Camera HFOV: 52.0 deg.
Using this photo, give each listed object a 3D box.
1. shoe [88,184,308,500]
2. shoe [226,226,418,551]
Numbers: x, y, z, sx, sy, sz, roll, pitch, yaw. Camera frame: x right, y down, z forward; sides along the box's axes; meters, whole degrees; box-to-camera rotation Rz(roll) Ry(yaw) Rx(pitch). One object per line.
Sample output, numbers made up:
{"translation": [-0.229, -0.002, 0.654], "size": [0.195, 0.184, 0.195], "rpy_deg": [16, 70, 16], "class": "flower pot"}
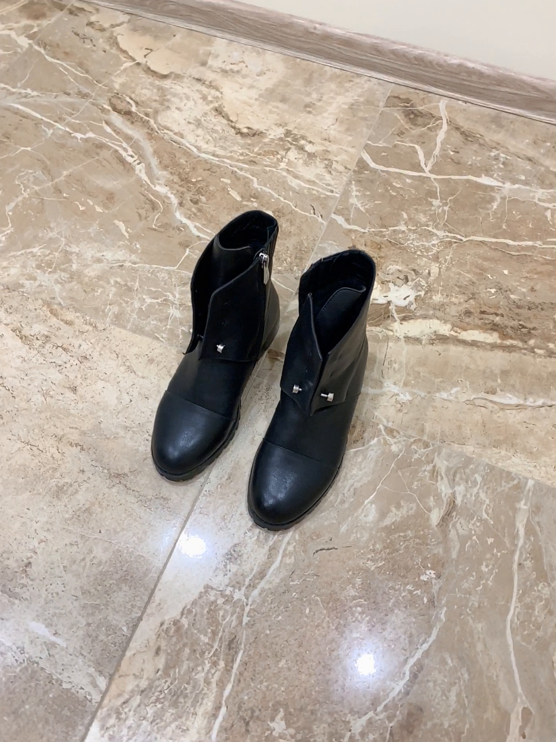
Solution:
{"translation": [-0.062, -0.021, 0.594], "size": [0.090, 0.200, 0.250], "rpy_deg": [22, 66, 10], "class": "shoe"}
{"translation": [0.044, 0.026, 0.573], "size": [0.090, 0.199, 0.251], "rpy_deg": [18, 64, 9], "class": "shoe"}
